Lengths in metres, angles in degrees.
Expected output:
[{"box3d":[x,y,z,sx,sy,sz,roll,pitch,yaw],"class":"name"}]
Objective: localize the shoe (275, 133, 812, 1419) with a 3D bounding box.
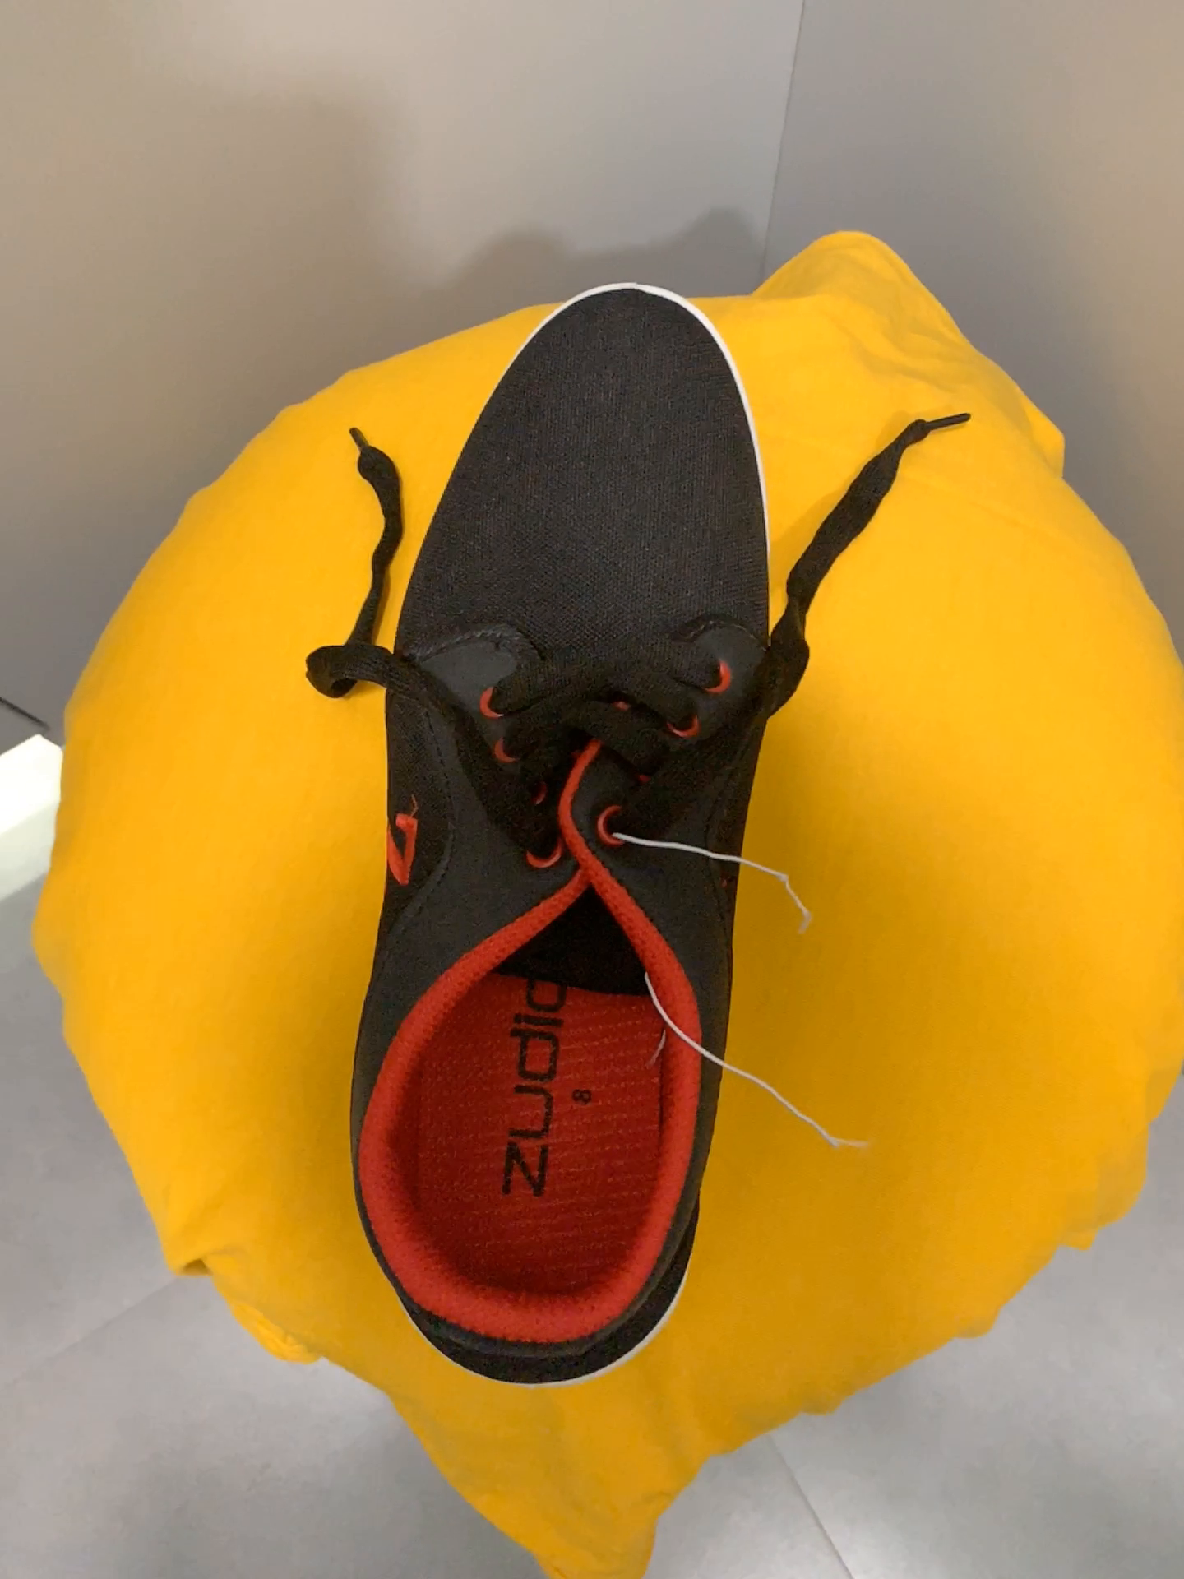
[{"box3d":[-0.003,-0.008,0.303,0.090,0.100,0.270,4,78,3],"class":"shoe"}]
